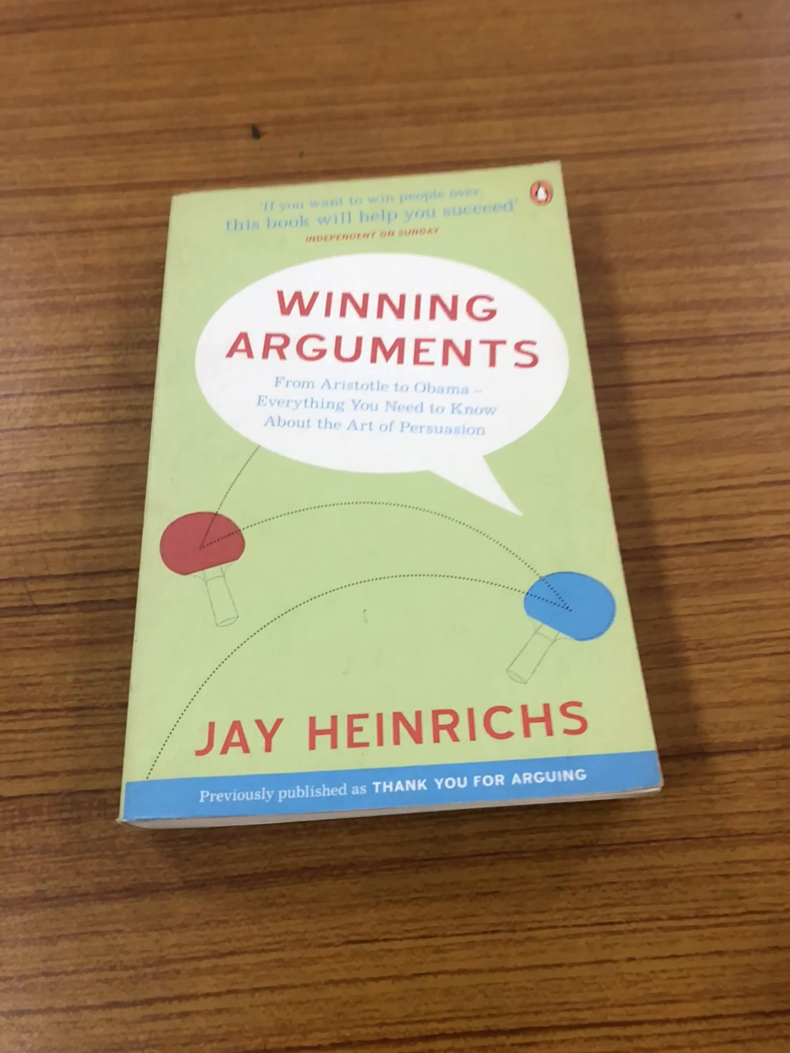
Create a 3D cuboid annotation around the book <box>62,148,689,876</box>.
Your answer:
[{"bbox_3d":[-0.008,-0.016,0.254,0.140,0.030,0.210,-3,66,1],"label":"book"}]
